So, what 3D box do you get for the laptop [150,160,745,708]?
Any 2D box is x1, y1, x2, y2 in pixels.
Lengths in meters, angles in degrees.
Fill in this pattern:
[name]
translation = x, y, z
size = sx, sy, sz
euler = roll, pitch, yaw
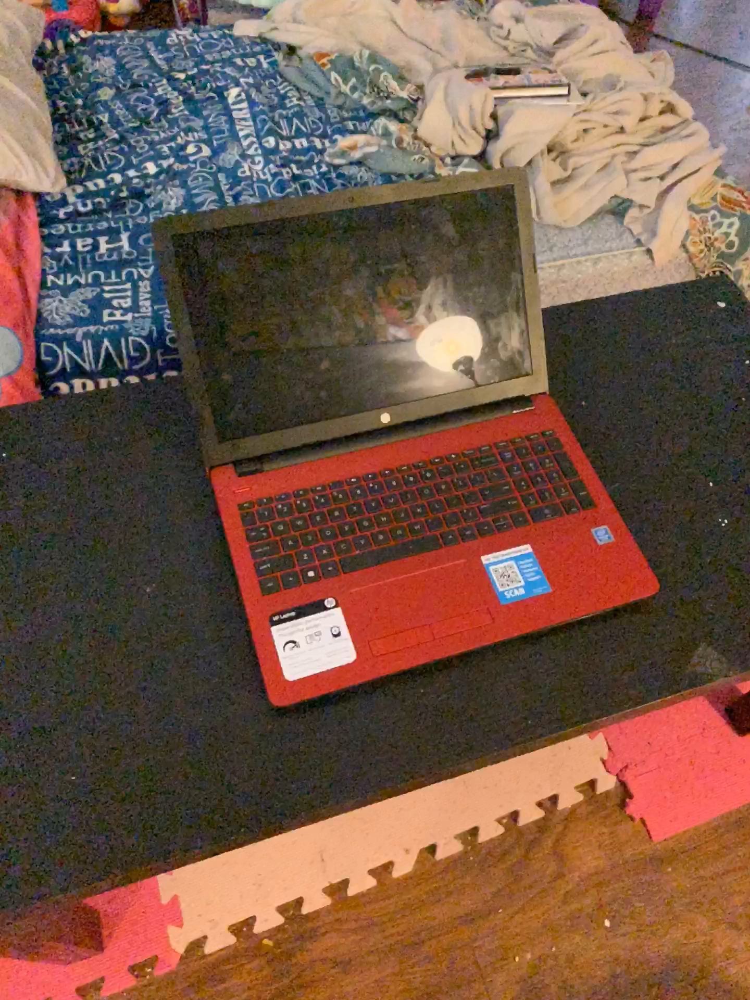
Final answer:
[laptop]
translation = 0.034, -0.087, 0.709
size = 0.376, 0.170, 0.410
euler = -14, 60, -14
